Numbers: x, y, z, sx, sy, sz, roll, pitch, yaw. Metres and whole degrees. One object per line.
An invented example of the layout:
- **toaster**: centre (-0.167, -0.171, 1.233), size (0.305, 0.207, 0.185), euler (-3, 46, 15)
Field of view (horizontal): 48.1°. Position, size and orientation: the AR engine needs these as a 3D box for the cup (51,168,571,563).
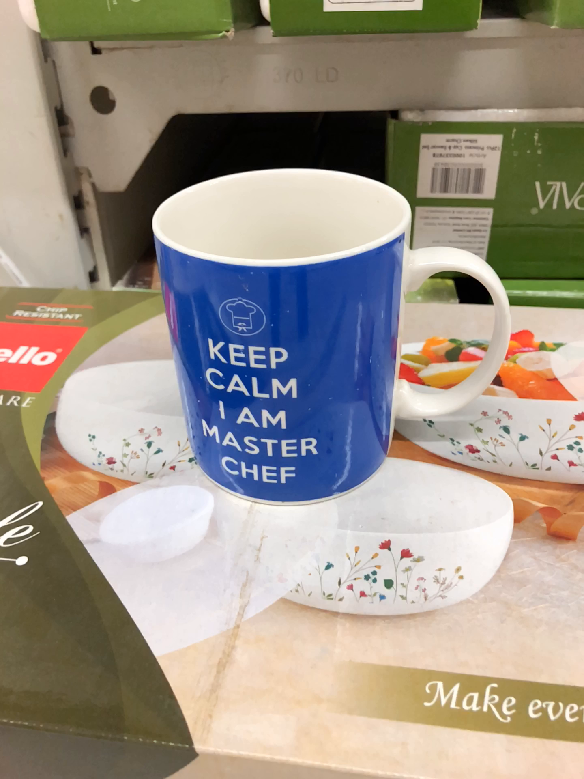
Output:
- **cup**: centre (0.010, -0.017, 0.248), size (0.140, 0.099, 0.111), euler (3, 34, 7)
